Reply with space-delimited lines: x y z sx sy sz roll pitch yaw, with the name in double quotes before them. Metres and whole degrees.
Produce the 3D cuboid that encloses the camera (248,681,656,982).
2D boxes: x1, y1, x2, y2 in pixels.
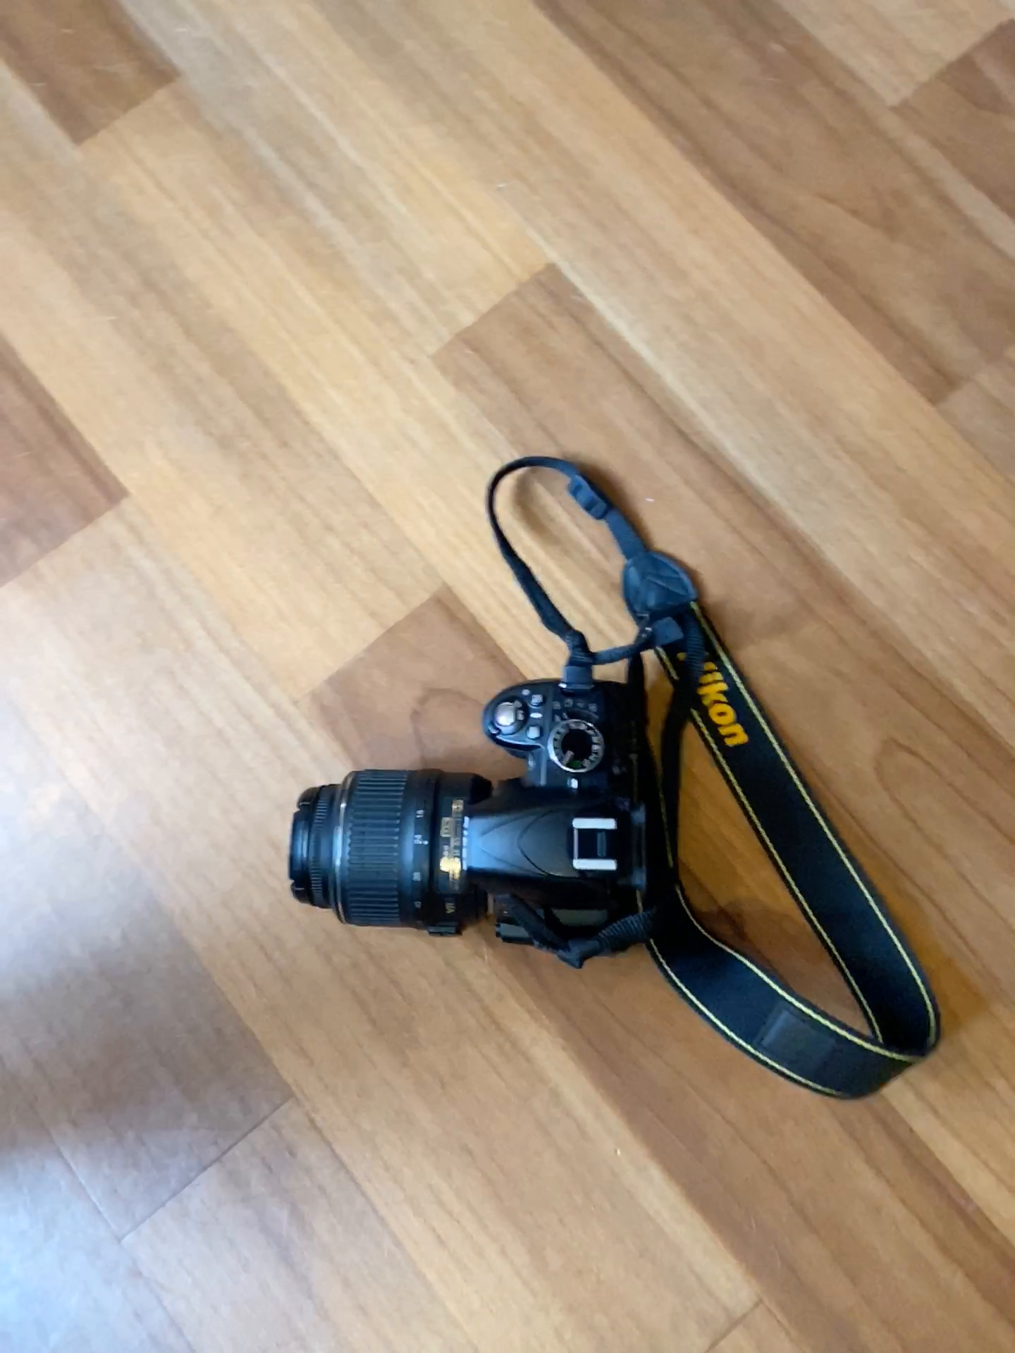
"camera" -0.020 0.071 0.467 0.161 0.090 0.121 0 77 2
